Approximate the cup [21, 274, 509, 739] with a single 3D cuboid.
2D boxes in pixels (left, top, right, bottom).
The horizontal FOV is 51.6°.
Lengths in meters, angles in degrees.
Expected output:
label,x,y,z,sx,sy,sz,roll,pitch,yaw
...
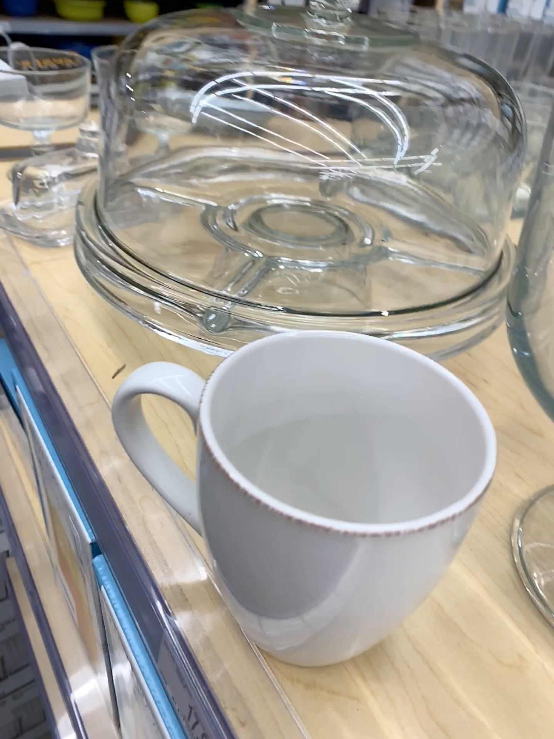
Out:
label,x,y,z,sx,sy,sz,roll,pitch,yaw
cup,0.002,0.043,0.211,0.130,0.094,0.096,16,41,12
